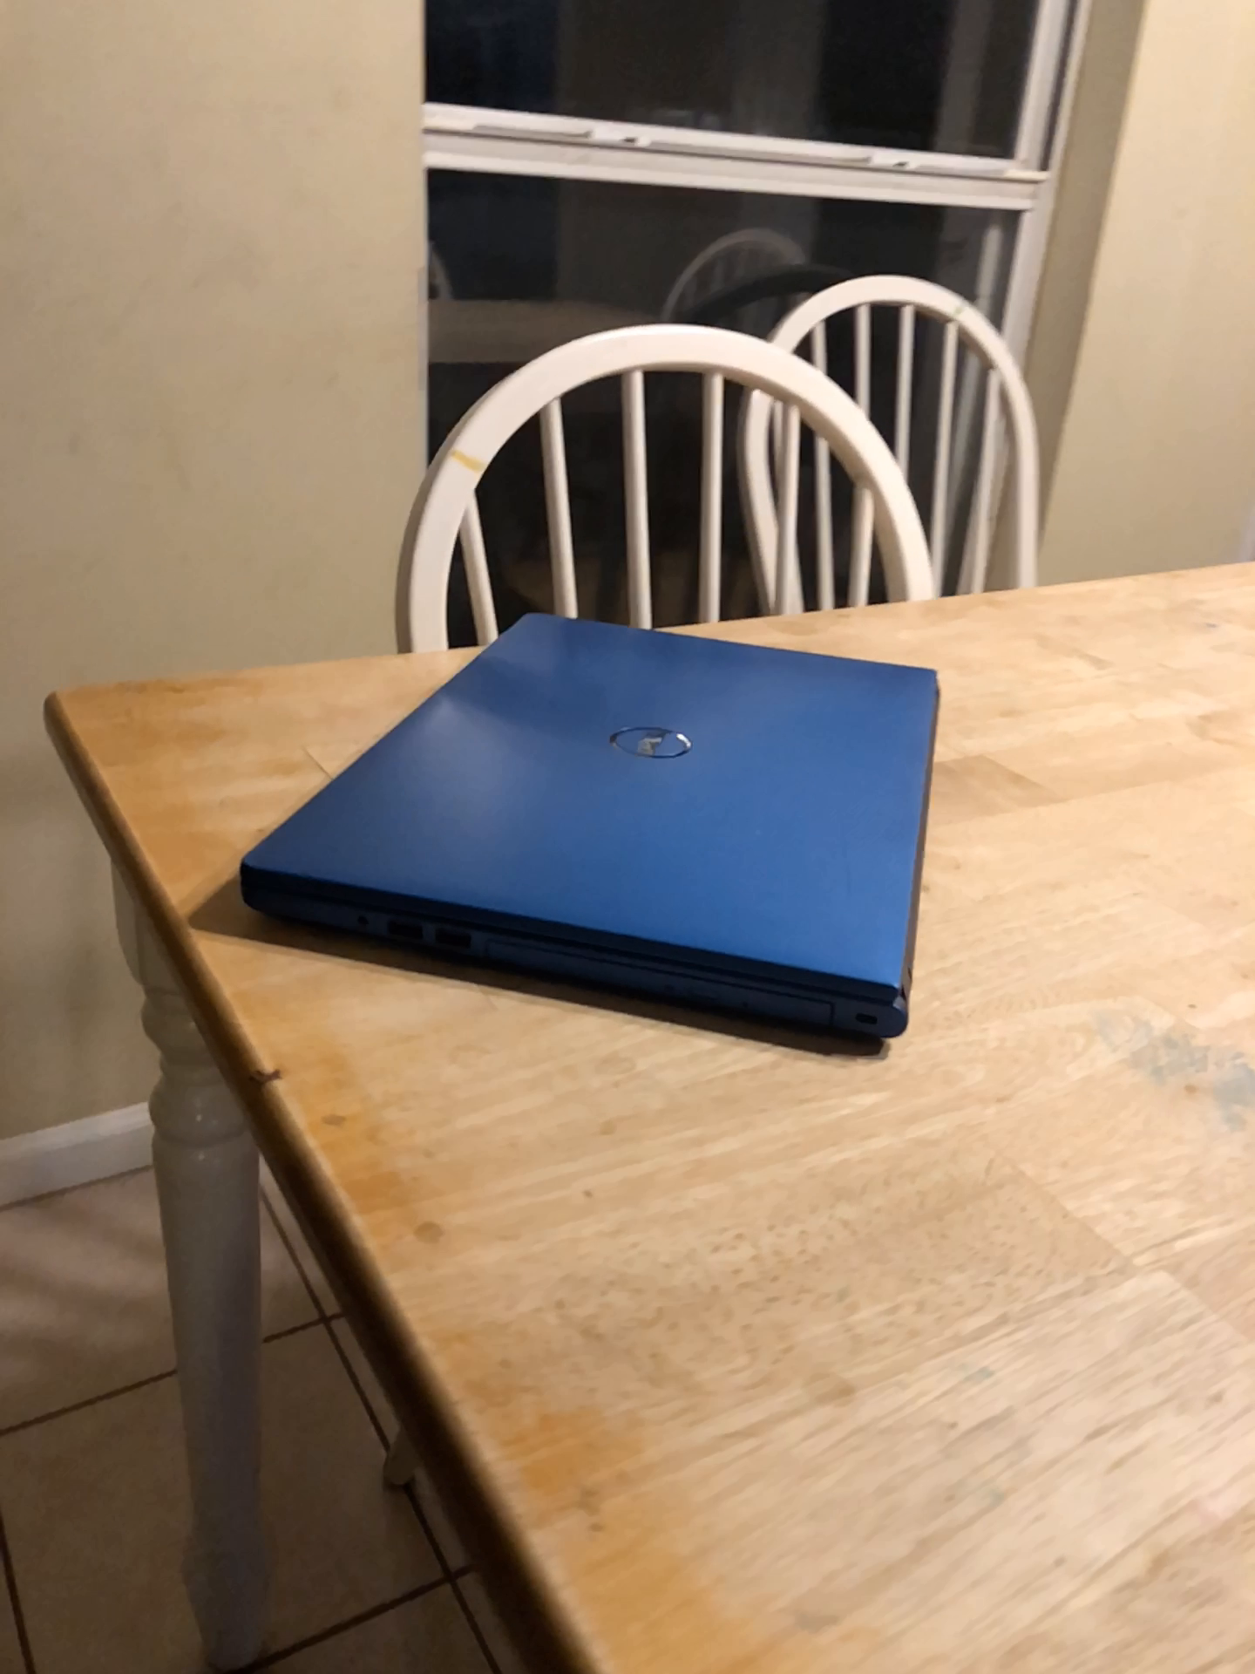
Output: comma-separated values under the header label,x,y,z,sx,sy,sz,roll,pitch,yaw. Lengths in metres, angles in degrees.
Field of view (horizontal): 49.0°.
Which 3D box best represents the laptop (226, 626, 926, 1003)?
label,x,y,z,sx,sy,sz,roll,pitch,yaw
laptop,0.011,-0.038,0.696,0.259,0.001,0.390,9,26,11
